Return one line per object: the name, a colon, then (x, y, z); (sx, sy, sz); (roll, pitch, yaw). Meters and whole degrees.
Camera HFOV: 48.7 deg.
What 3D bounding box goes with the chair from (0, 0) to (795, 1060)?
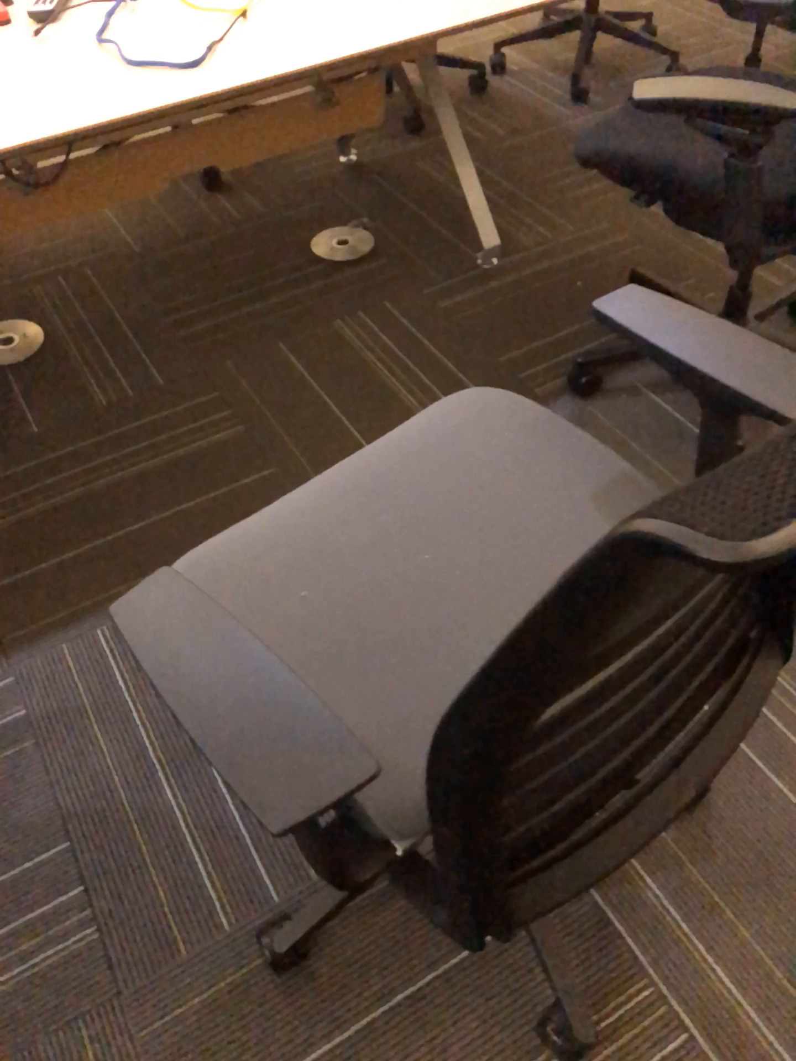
chair: (0.093, 0.038, 0.844); (0.721, 0.856, 0.662); (-36, 55, -27)
